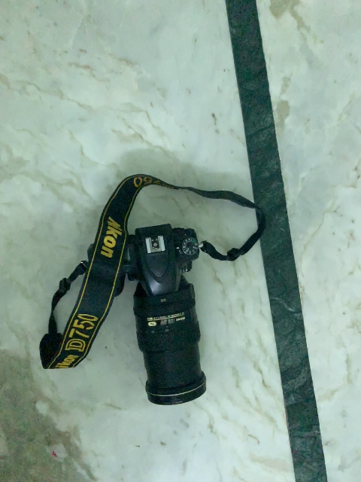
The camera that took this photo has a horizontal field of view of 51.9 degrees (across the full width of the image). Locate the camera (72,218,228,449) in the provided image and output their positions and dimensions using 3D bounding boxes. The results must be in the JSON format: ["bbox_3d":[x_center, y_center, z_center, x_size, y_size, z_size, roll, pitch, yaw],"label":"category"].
[{"bbox_3d":[-0.036,0.101,0.459,0.139,0.100,0.232,-8,89,-4],"label":"camera"}]
